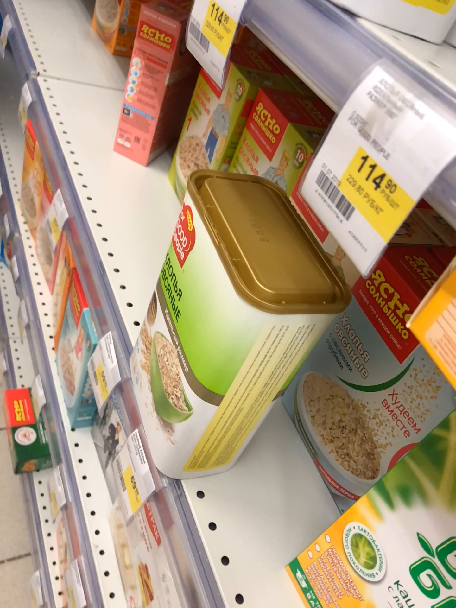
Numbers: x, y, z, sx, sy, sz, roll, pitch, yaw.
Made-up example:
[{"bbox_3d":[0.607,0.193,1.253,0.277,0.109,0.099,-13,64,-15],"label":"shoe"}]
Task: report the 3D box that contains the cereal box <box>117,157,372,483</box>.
[{"bbox_3d":[-0.009,0.017,0.378,0.090,0.189,0.141,2,45,-27],"label":"cereal box"}]
